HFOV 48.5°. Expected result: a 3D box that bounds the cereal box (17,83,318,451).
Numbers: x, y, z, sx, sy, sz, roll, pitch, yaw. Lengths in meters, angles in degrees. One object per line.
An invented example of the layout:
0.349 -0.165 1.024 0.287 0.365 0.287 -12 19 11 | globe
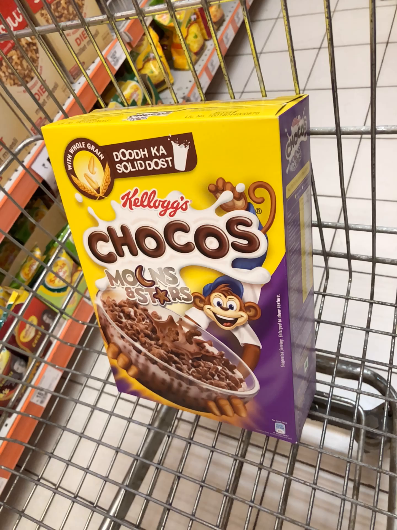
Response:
-0.011 0.003 0.346 0.190 0.249 0.070 6 30 26 | cereal box
